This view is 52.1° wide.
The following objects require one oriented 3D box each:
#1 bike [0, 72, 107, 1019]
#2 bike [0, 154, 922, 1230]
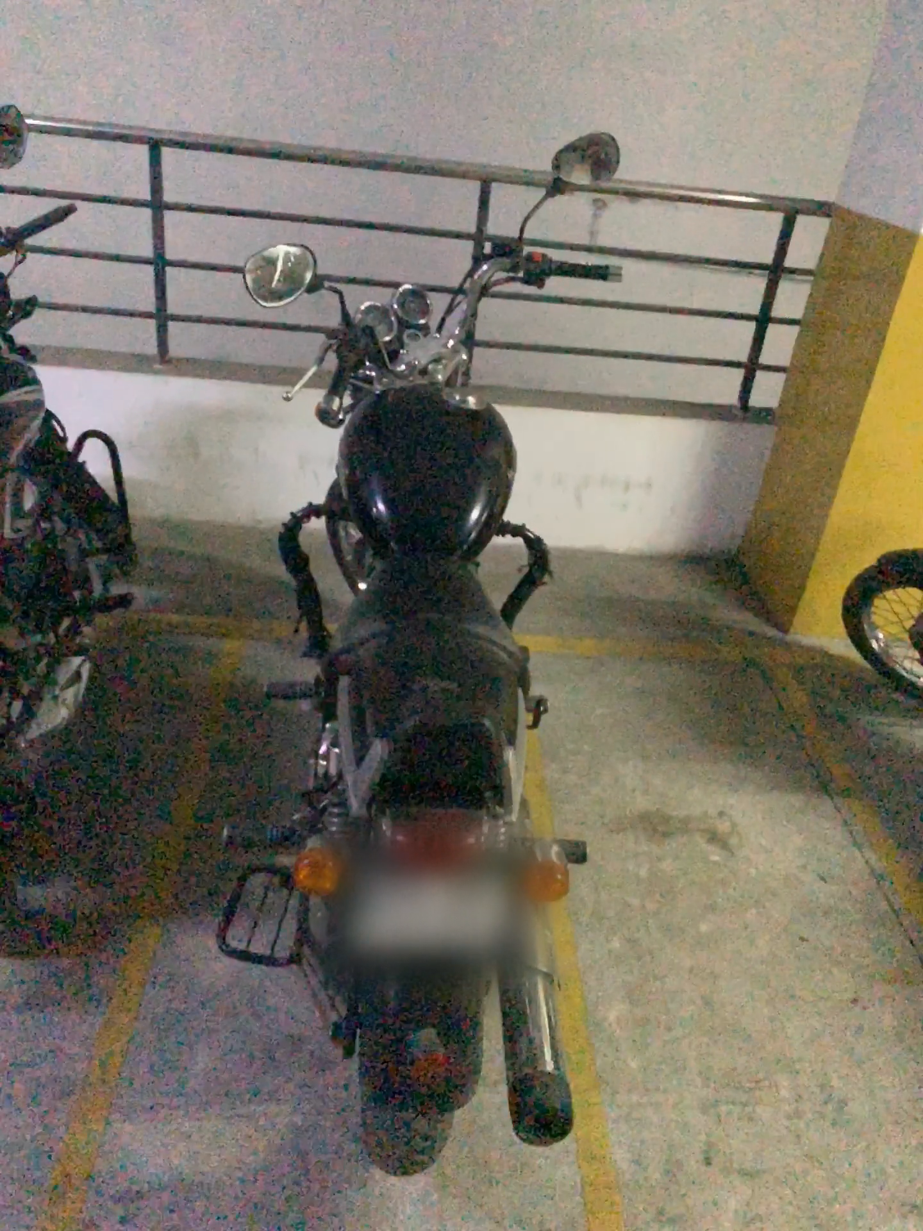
[{"bbox_3d":[-1.337,-0.303,2.106,0.719,1.277,1.571,2,34,-8],"label":"bike"},{"bbox_3d":[-0.204,-0.049,1.864,0.851,1.232,1.806,0,32,-11],"label":"bike"}]
